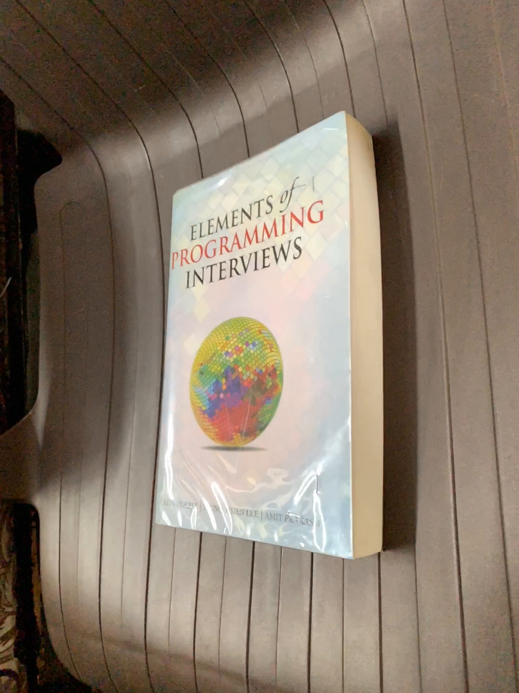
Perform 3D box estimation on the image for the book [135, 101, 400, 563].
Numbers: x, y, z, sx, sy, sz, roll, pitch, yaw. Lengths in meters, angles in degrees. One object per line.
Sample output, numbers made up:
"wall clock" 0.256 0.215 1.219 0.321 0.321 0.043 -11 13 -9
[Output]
"book" -0.002 -0.004 0.334 0.161 0.050 0.230 -8 76 41
